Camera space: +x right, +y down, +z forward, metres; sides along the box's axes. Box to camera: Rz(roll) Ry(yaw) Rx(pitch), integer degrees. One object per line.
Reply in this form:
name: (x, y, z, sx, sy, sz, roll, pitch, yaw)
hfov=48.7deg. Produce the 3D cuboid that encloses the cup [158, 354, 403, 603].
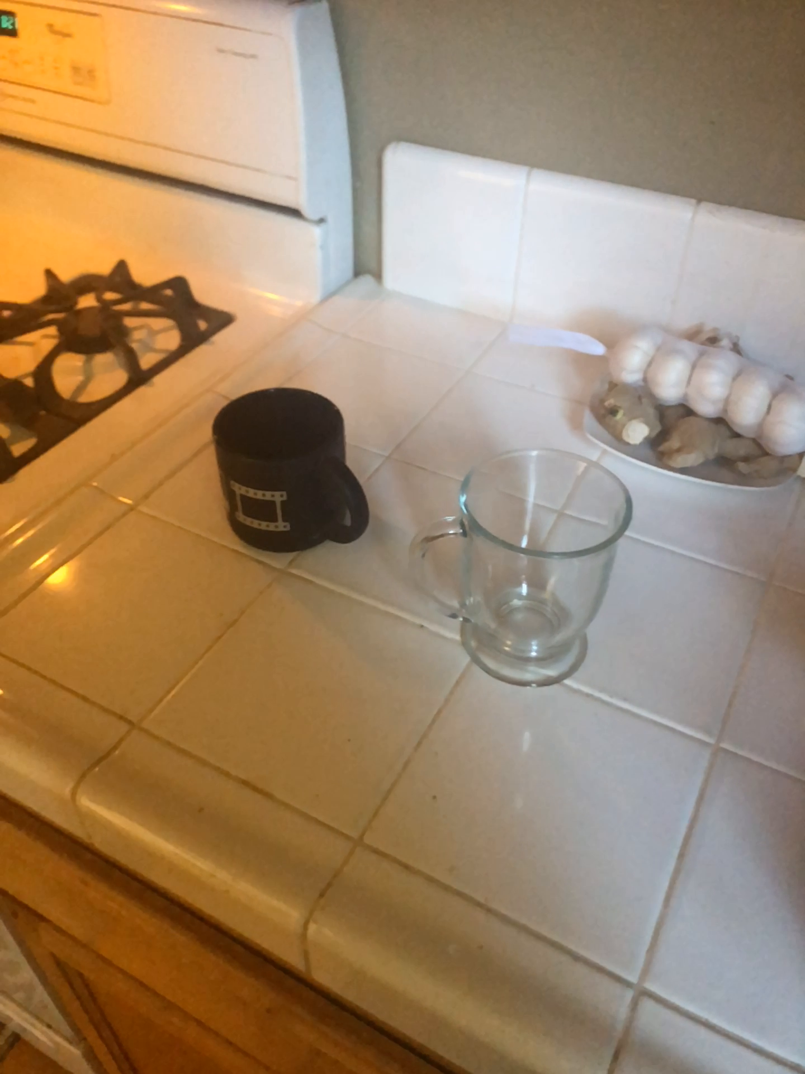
cup: (-0.082, -0.045, 0.615, 0.130, 0.089, 0.101, 34, 51, 31)

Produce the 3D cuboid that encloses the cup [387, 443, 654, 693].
cup: (0.063, 0.019, 0.540, 0.140, 0.109, 0.101, 1, 42, 1)
